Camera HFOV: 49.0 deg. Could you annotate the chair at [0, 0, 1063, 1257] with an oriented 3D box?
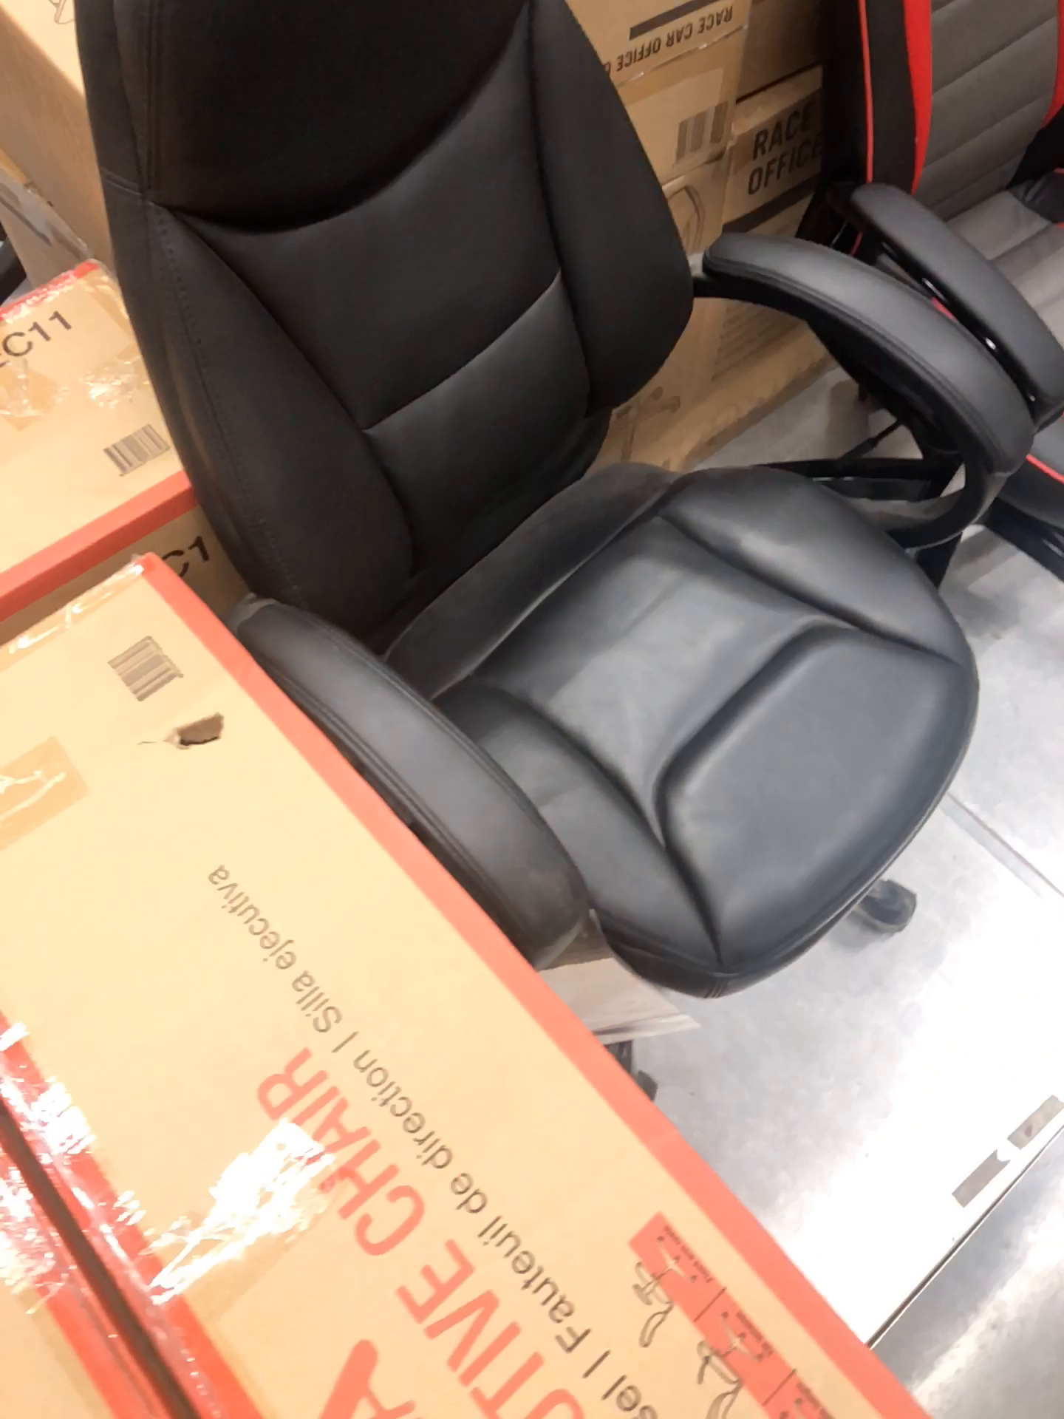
[{"bbox_3d":[0.098,-0.125,1.050,0.741,1.065,0.722,36,66,19],"label":"chair"}]
